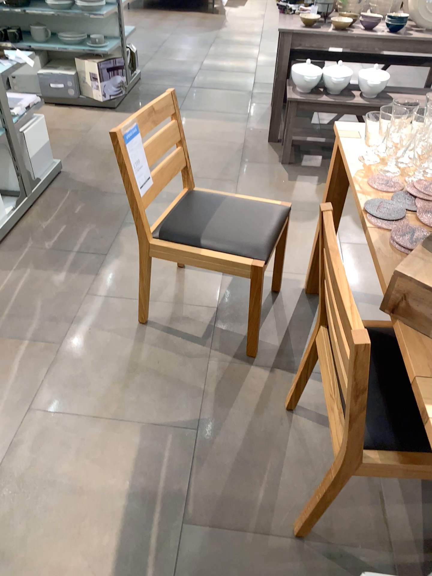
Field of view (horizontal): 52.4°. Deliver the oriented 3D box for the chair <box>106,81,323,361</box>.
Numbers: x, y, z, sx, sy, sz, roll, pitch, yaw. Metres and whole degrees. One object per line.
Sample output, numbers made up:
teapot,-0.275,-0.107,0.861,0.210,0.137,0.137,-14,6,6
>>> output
chair,0.014,-0.265,1.724,0.564,0.815,0.567,14,42,14
